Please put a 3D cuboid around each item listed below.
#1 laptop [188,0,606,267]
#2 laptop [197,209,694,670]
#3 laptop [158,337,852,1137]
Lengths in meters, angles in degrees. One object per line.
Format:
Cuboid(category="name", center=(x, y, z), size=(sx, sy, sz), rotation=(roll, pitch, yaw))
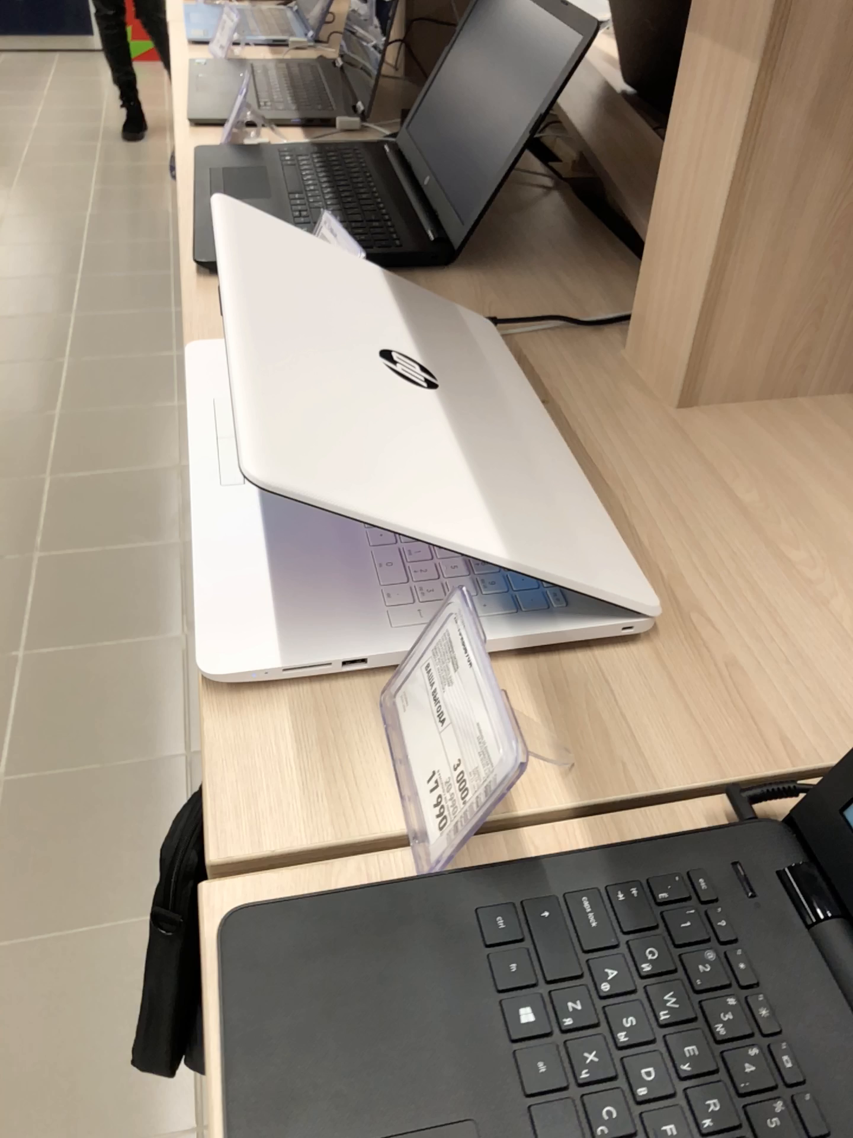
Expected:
Cuboid(category="laptop", center=(-0.054, -0.510, 1.021), size=(0.368, 0.203, 0.388), rotation=(-5, 40, -10))
Cuboid(category="laptop", center=(-0.023, -0.115, 0.614), size=(0.232, 0.103, 0.370), rotation=(-7, 39, -9))
Cuboid(category="laptop", center=(0.142, 0.154, 0.193), size=(0.349, 0.219, 0.393), rotation=(-6, 41, -11))
